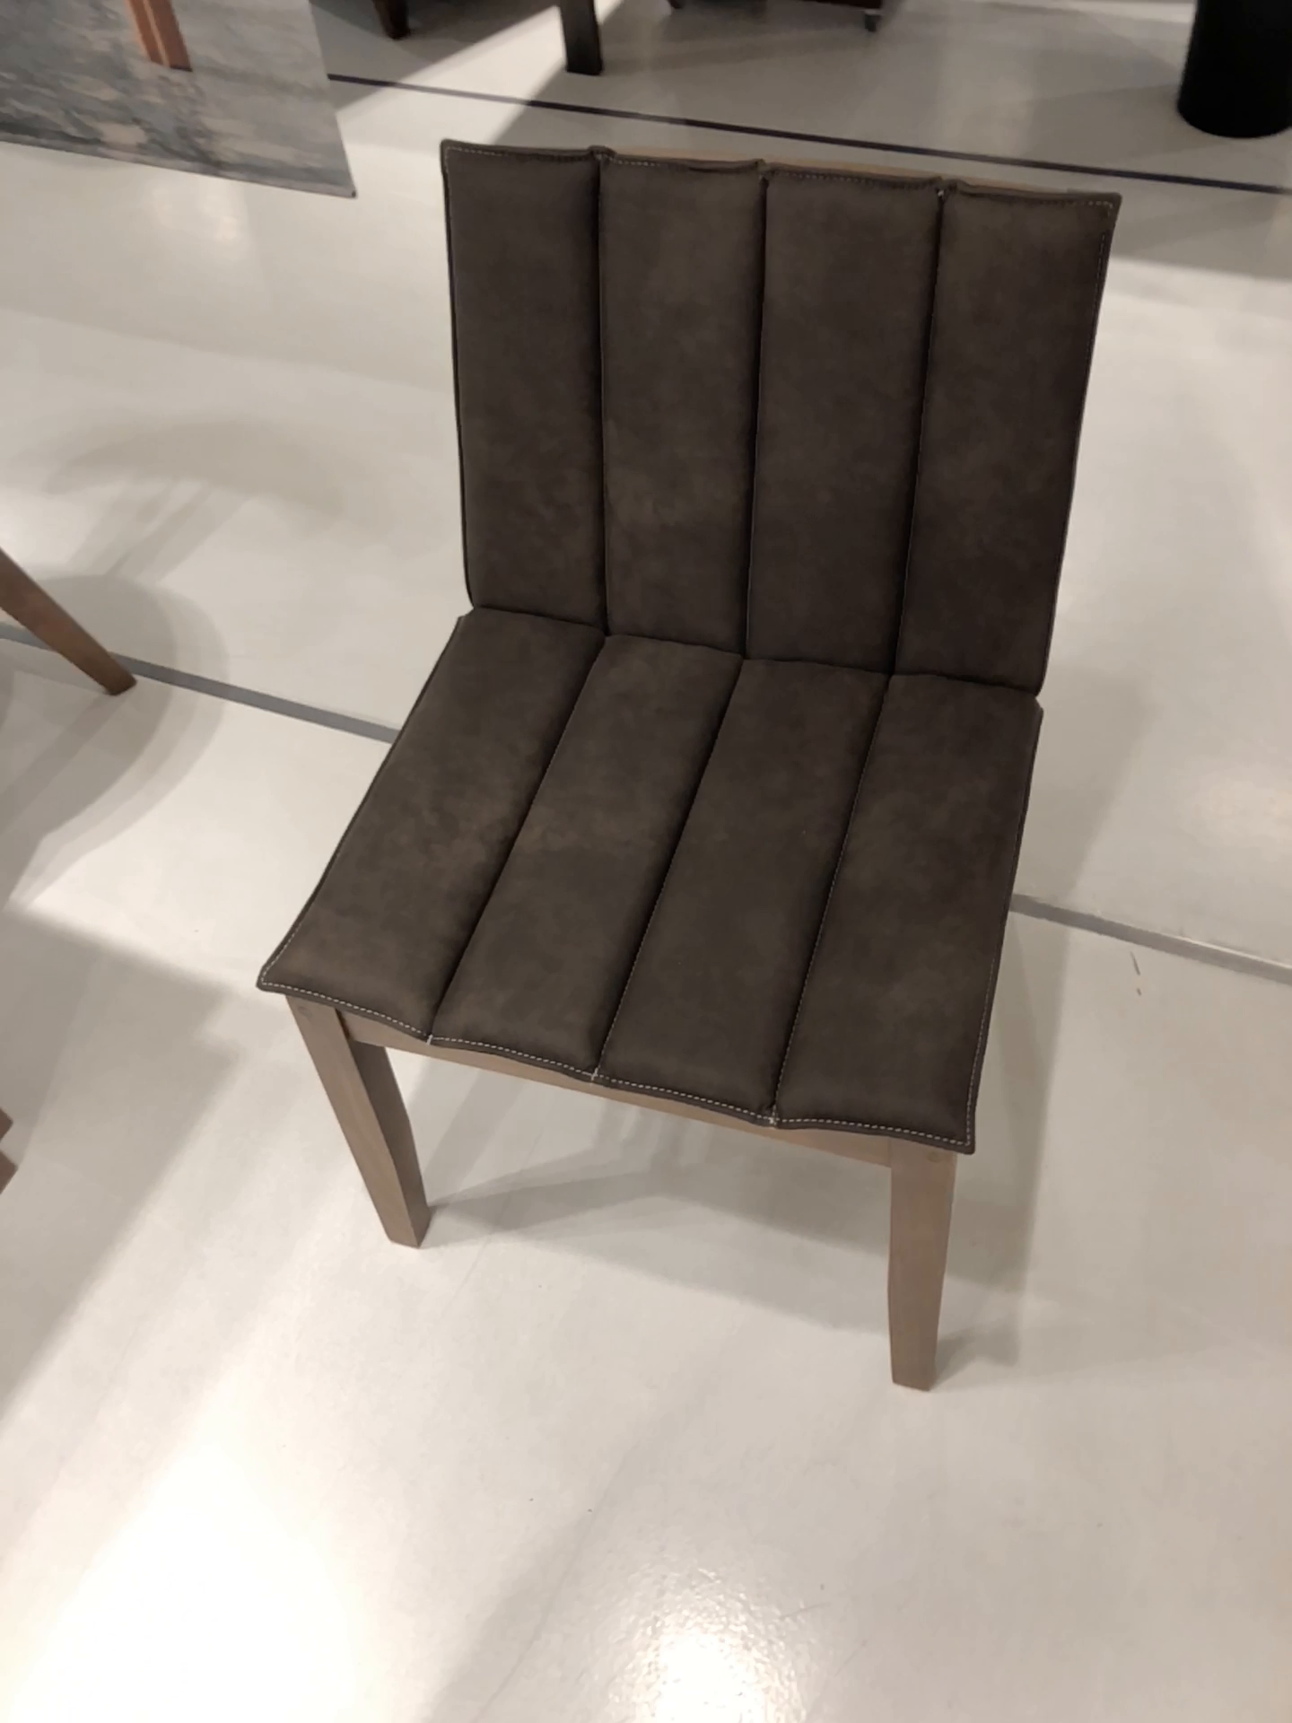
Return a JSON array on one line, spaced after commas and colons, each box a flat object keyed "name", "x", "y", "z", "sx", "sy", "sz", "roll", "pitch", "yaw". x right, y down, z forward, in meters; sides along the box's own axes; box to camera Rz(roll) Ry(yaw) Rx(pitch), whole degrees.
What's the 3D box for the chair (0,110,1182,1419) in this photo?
[{"name": "chair", "x": 0.029, "y": -0.035, "z": 1.105, "sx": 0.540, "sy": 0.776, "sz": 0.573, "roll": 11, "pitch": 56, "yaw": 15}]
